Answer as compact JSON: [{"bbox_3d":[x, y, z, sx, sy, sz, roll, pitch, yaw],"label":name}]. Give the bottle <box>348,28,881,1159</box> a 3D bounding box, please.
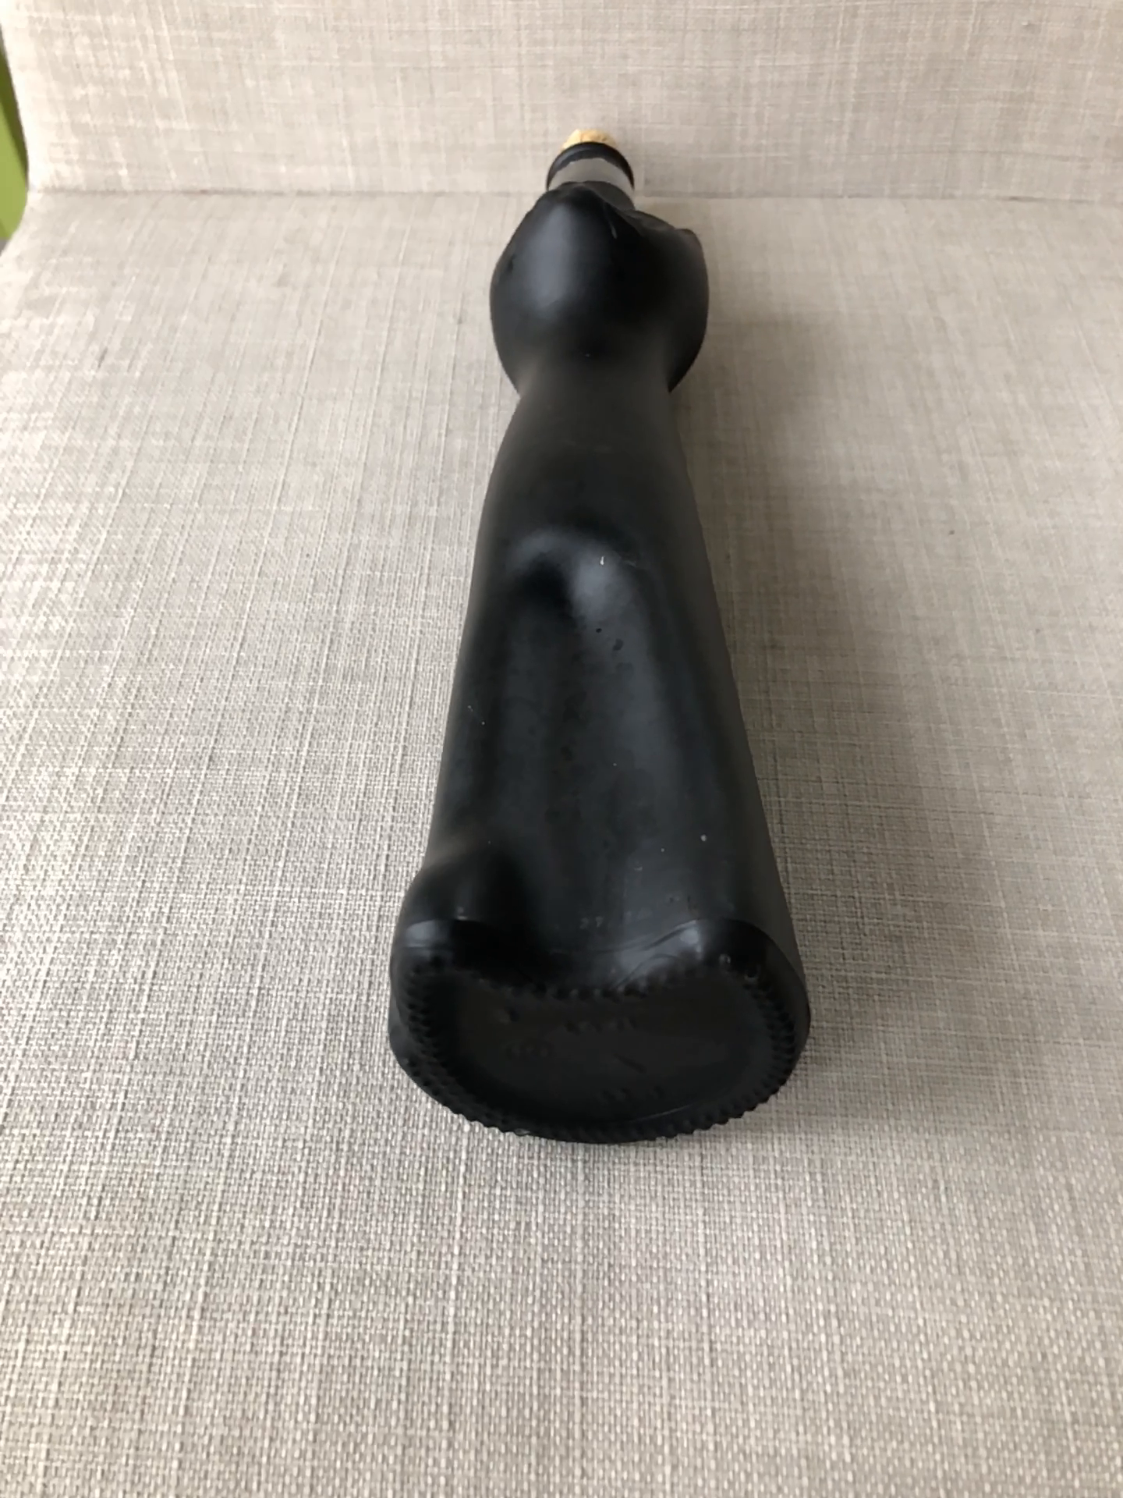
[{"bbox_3d":[0.008,-0.068,0.309,0.077,0.079,0.313,0,52,0],"label":"bottle"}]
